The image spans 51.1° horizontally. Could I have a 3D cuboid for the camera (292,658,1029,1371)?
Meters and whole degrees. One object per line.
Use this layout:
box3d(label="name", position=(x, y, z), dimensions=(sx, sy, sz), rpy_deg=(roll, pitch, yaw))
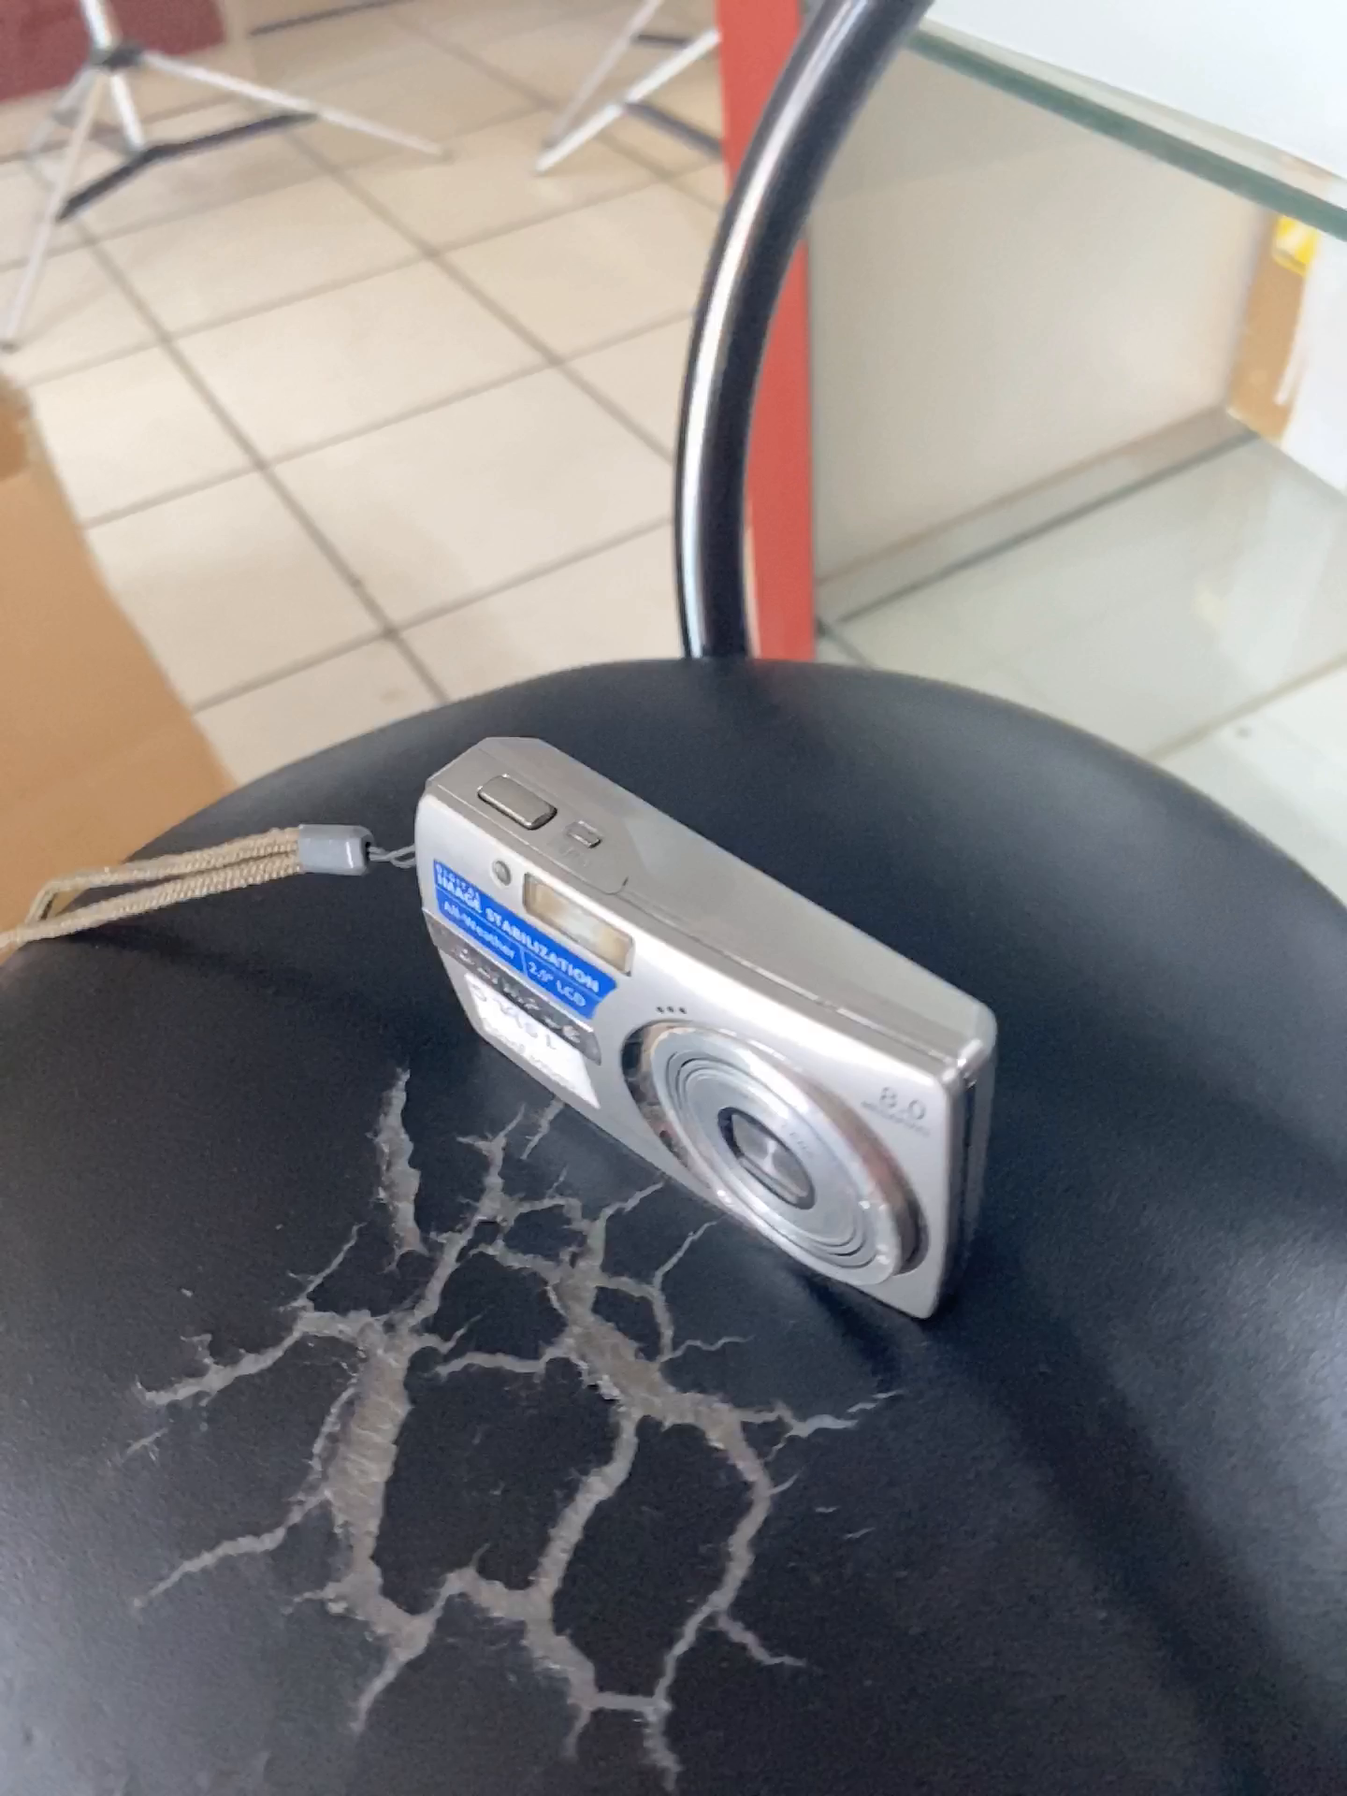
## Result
box3d(label="camera", position=(-0.004, 0.014, 0.204), dimensions=(0.100, 0.060, 0.030), rpy_deg=(29, 57, 29))
